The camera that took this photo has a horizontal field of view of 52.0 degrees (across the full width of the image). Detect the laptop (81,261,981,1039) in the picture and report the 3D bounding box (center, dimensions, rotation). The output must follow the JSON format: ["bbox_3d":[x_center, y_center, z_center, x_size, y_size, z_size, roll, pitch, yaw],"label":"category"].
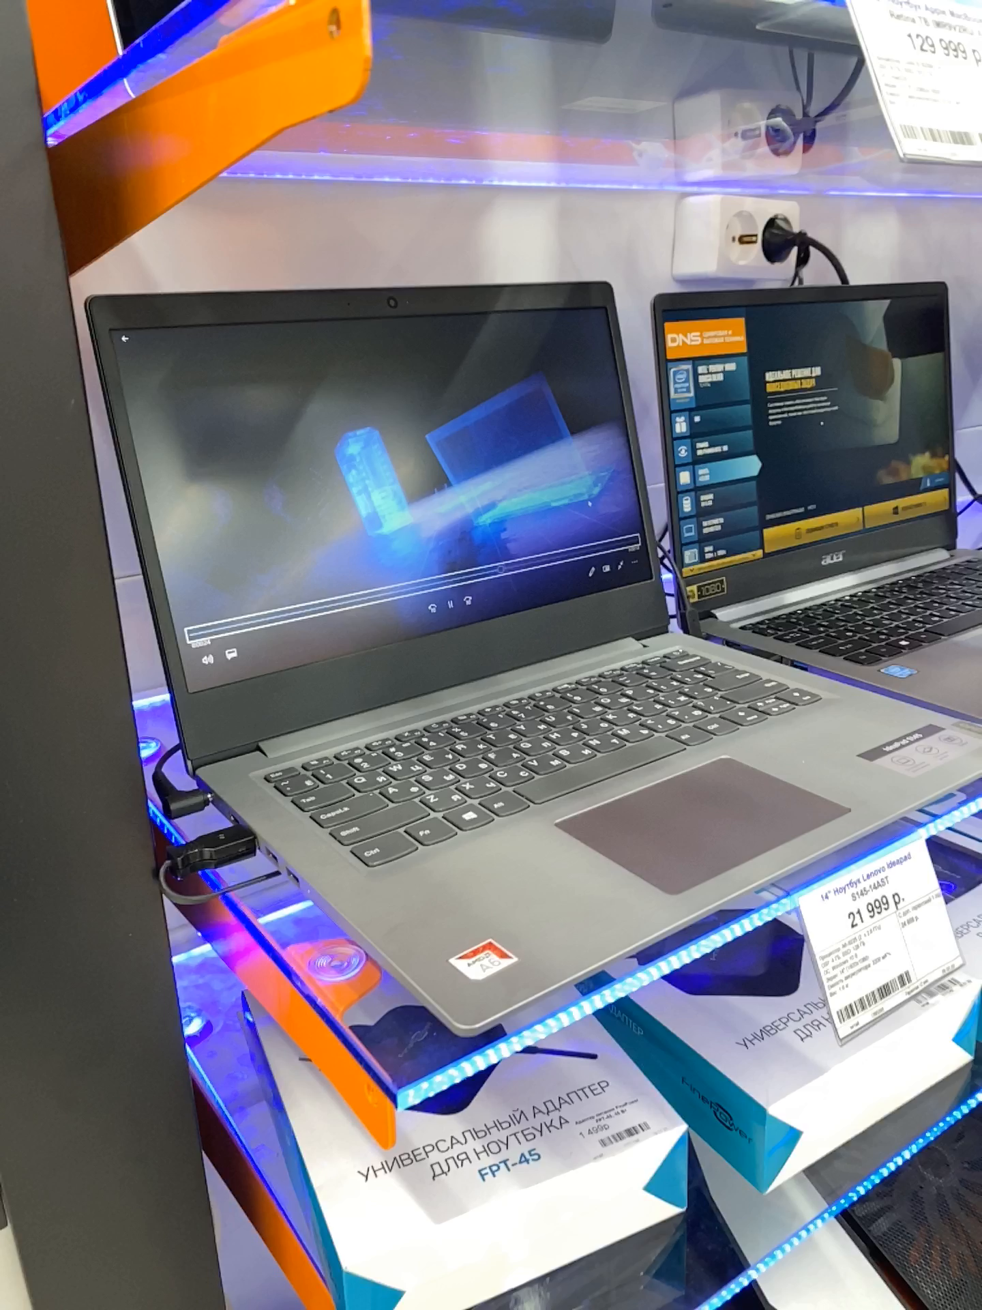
[{"bbox_3d":[0.033,-0.061,0.473,0.327,0.215,0.303,-15,23,-32],"label":"laptop"}]
